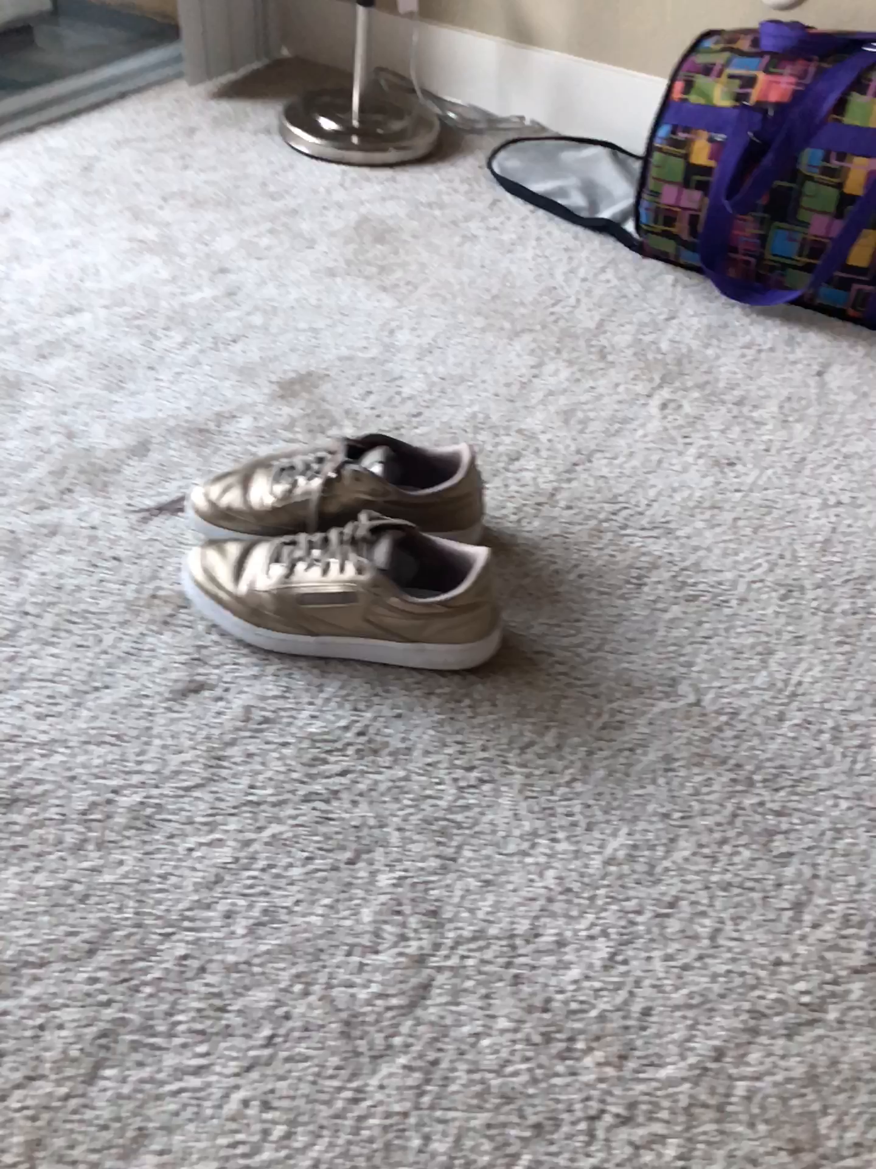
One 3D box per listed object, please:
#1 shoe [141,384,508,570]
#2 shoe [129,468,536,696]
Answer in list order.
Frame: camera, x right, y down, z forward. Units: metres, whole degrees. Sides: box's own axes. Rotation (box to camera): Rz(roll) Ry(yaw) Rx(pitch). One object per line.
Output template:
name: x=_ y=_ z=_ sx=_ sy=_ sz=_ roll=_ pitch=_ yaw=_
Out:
shoe: x=-0.087 y=-0.091 z=0.804 sx=0.280 sy=0.070 sz=0.111 roll=7 pitch=43 yaw=-1
shoe: x=-0.074 y=-0.005 z=0.736 sx=0.280 sy=0.070 sz=0.111 roll=10 pitch=43 yaw=3
